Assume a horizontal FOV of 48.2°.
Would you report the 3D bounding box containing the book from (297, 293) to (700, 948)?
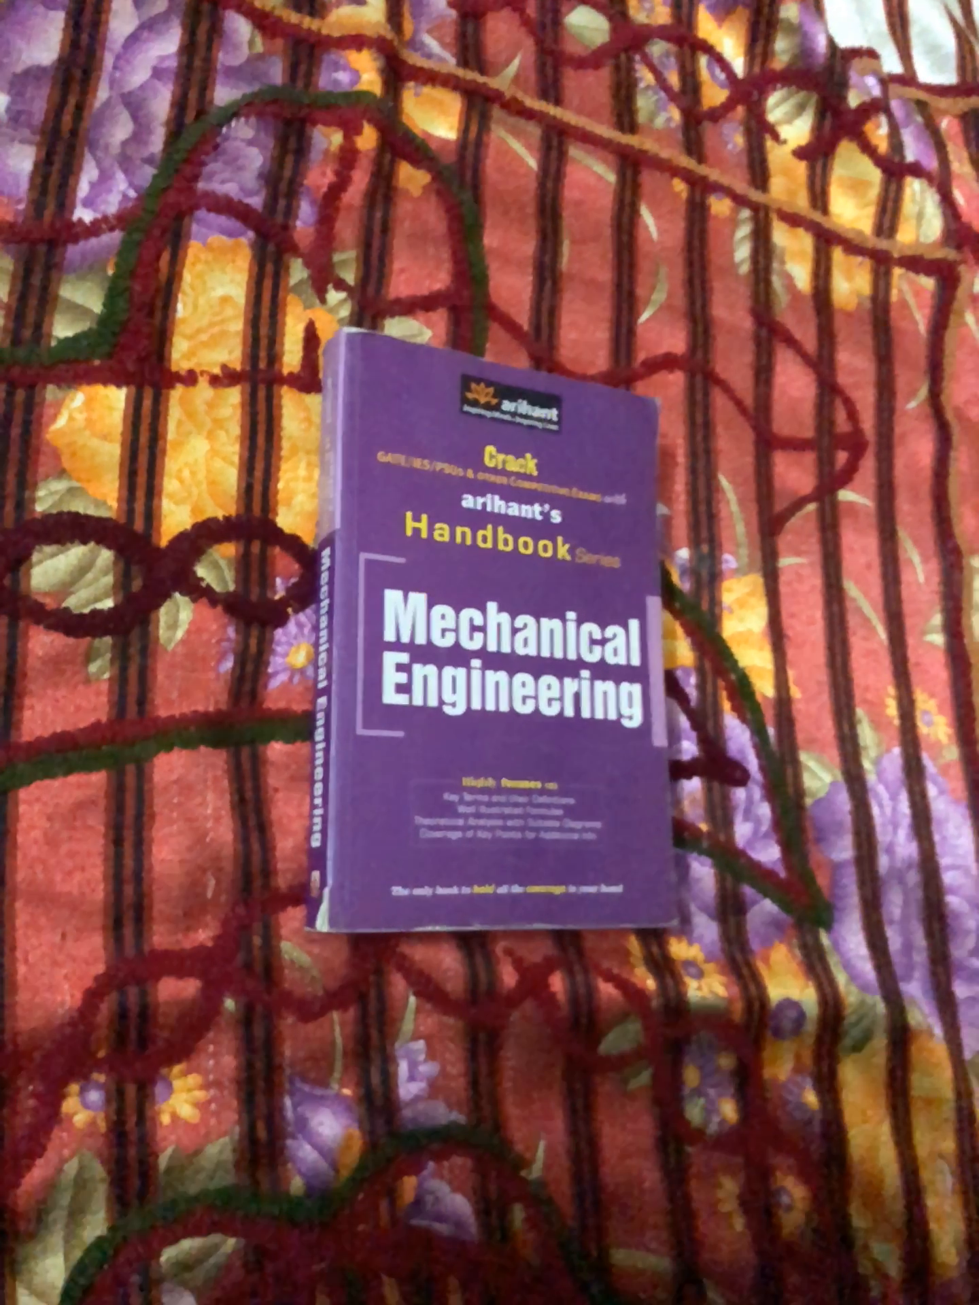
[{"bbox_3d":[0.004,-0.008,0.427,0.148,0.040,0.231,5,77,-27],"label":"book"}]
